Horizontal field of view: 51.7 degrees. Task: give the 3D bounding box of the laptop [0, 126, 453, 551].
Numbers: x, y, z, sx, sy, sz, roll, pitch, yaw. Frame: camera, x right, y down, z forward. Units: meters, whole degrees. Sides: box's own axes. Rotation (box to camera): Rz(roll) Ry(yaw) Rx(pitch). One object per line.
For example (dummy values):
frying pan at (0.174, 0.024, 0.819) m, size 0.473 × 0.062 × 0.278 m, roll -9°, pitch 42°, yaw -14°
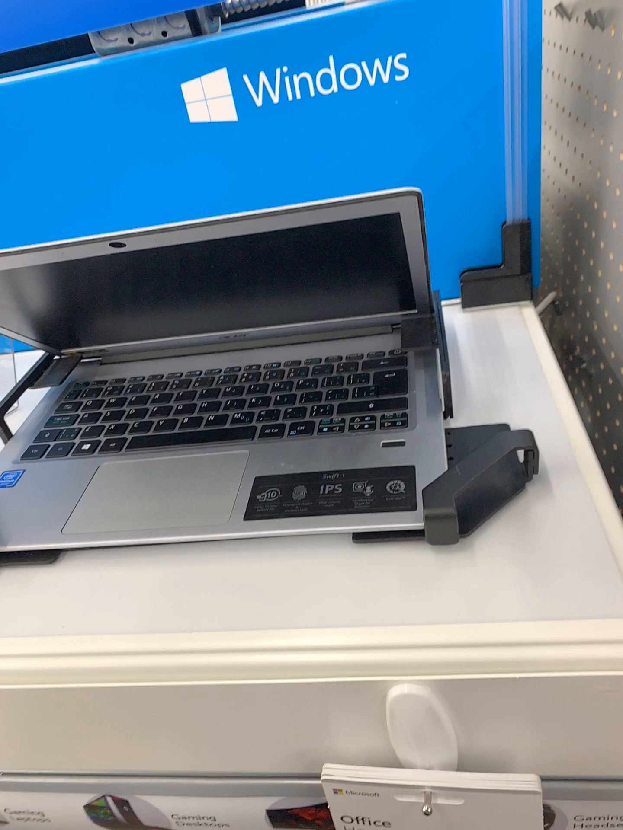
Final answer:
laptop at (-0.083, -0.050, 0.394) m, size 0.307 × 0.140 × 0.198 m, roll -5°, pitch 36°, yaw 12°
